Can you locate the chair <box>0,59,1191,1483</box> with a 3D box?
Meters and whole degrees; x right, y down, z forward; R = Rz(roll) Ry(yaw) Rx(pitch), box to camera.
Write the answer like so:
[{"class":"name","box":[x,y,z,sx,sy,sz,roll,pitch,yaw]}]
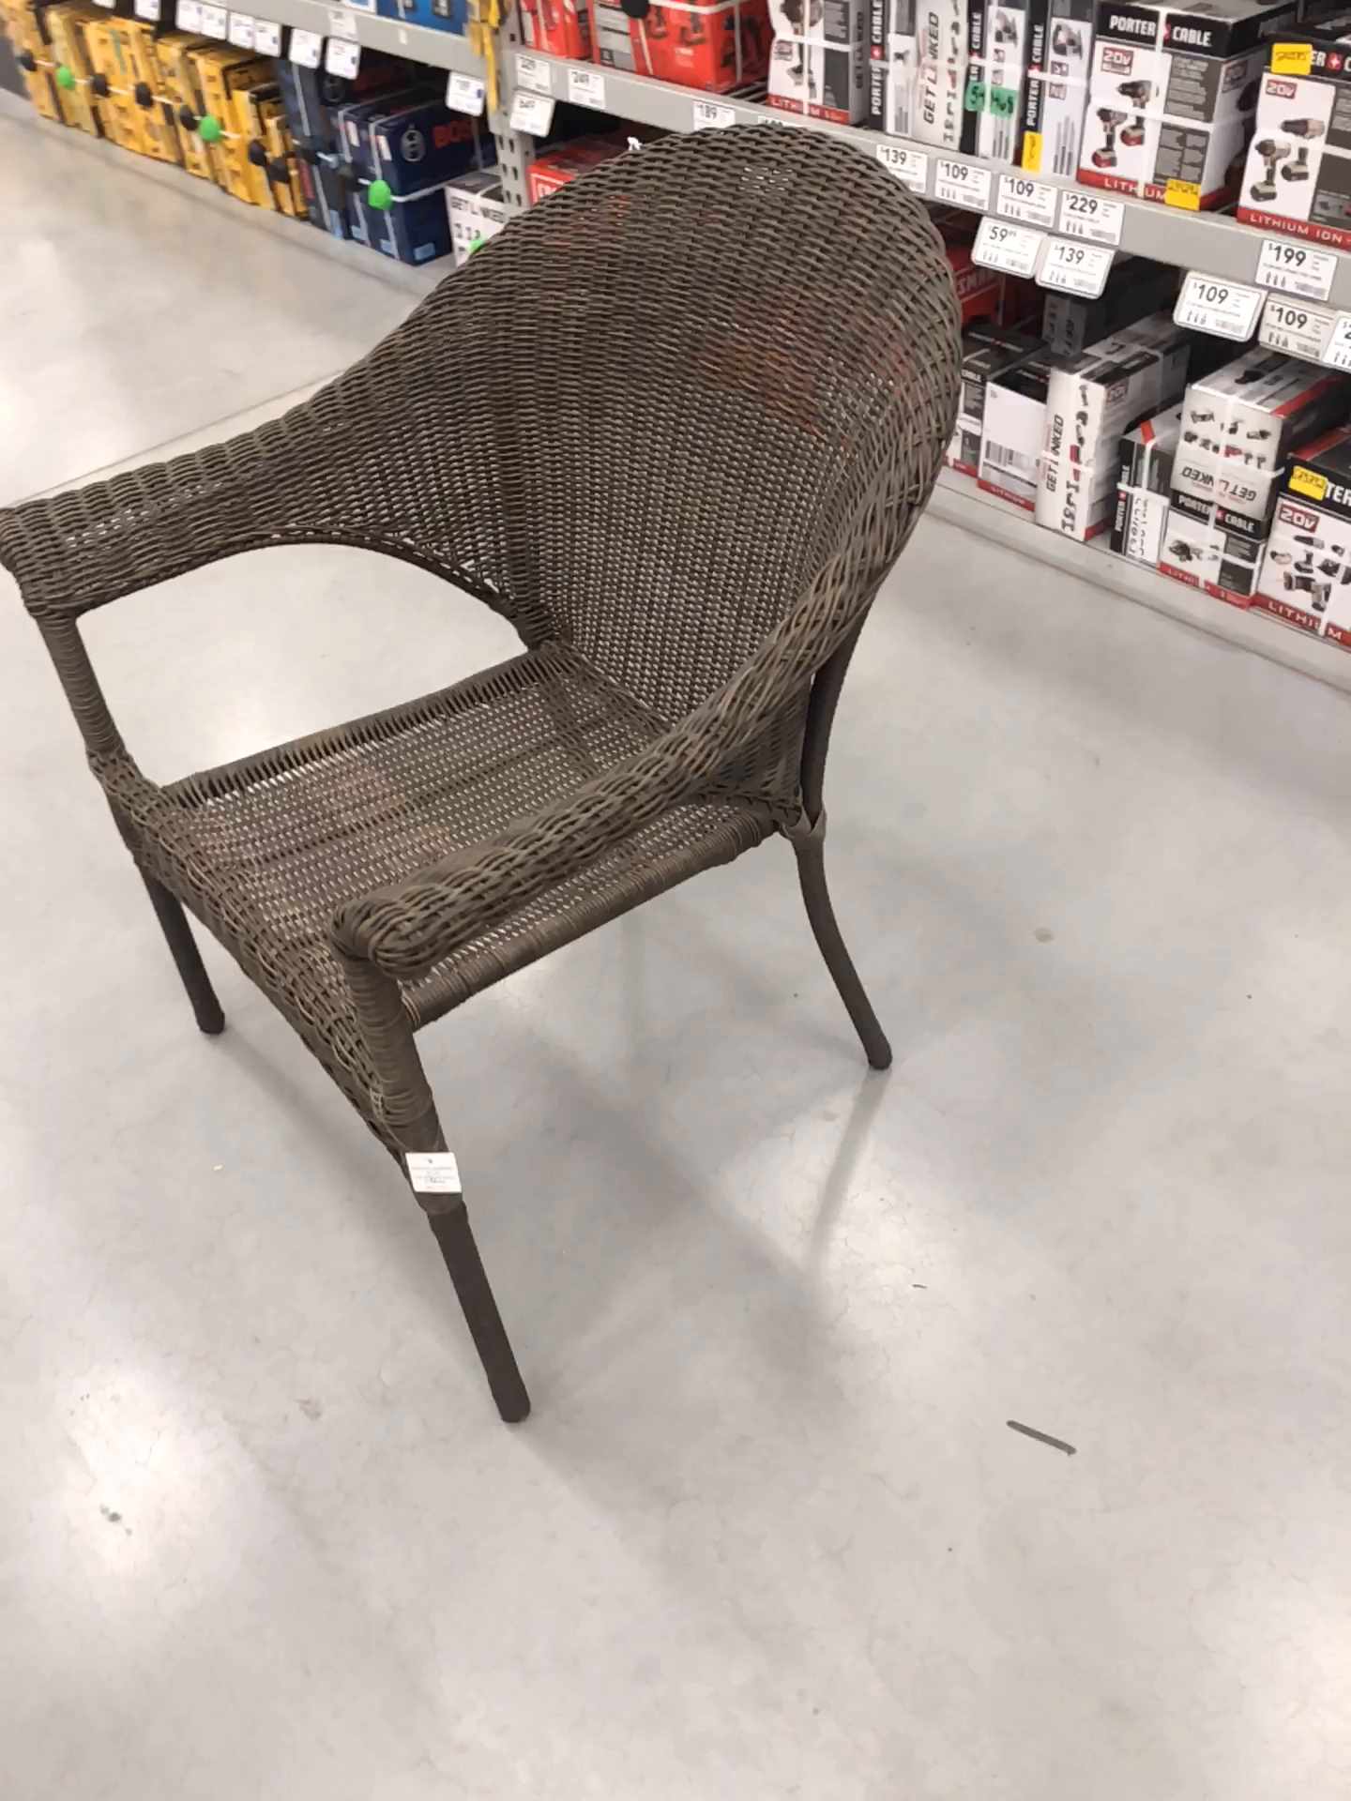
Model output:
[{"class":"chair","box":[-0.139,-0.169,1.331,0.761,0.797,0.722,-32,48,-25]}]
